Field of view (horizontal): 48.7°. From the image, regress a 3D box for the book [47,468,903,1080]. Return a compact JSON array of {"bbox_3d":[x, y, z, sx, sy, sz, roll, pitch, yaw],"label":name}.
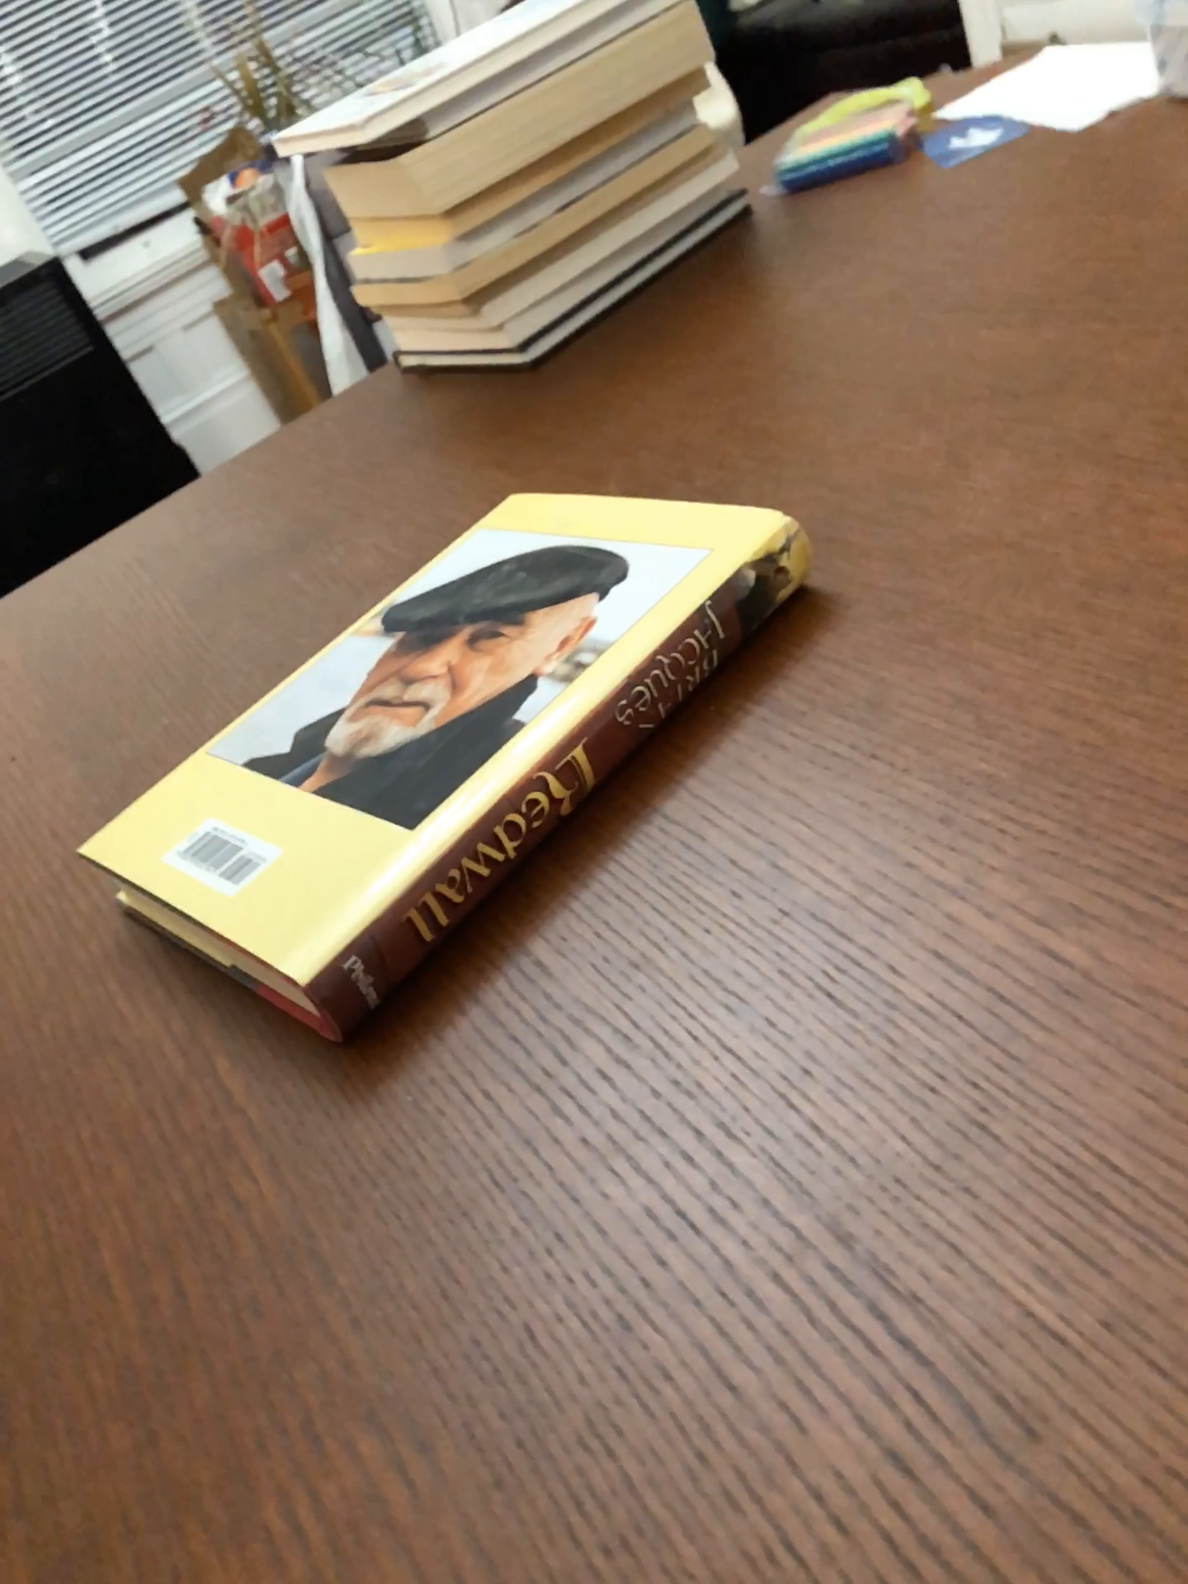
[{"bbox_3d":[-0.044,-0.033,0.458,0.191,0.030,0.251,16,52,47],"label":"book"}]
